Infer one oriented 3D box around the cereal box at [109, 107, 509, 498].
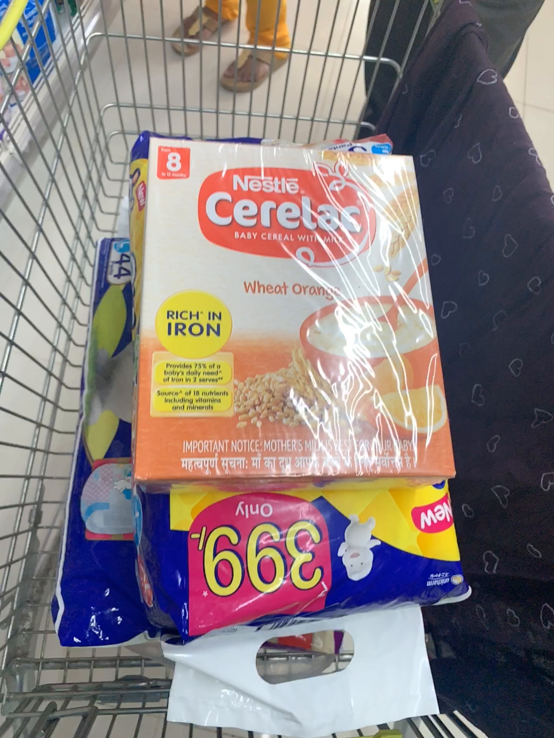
[{"bbox_3d":[0.011,-0.035,0.295,0.170,0.050,0.190,0,71,-7],"label":"cereal box"}]
